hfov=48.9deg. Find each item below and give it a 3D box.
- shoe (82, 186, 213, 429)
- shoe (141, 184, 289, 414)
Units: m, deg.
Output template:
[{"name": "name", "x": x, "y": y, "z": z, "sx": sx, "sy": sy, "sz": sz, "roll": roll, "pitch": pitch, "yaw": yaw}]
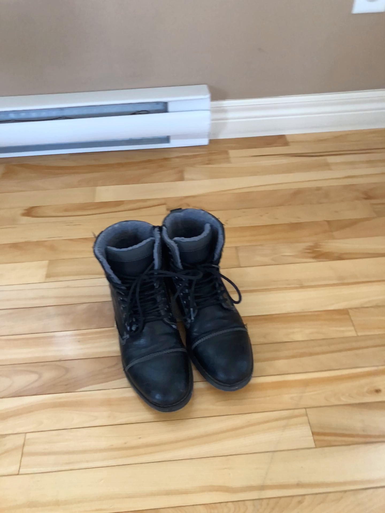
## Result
[{"name": "shoe", "x": -0.071, "y": 0.069, "z": 0.649, "sx": 0.120, "sy": 0.199, "sz": 0.291, "roll": -13, "pitch": 48, "yaw": -10}, {"name": "shoe", "x": 0.021, "y": 0.061, "z": 0.701, "sx": 0.120, "sy": 0.199, "sz": 0.301, "roll": -15, "pitch": 49, "yaw": -11}]
